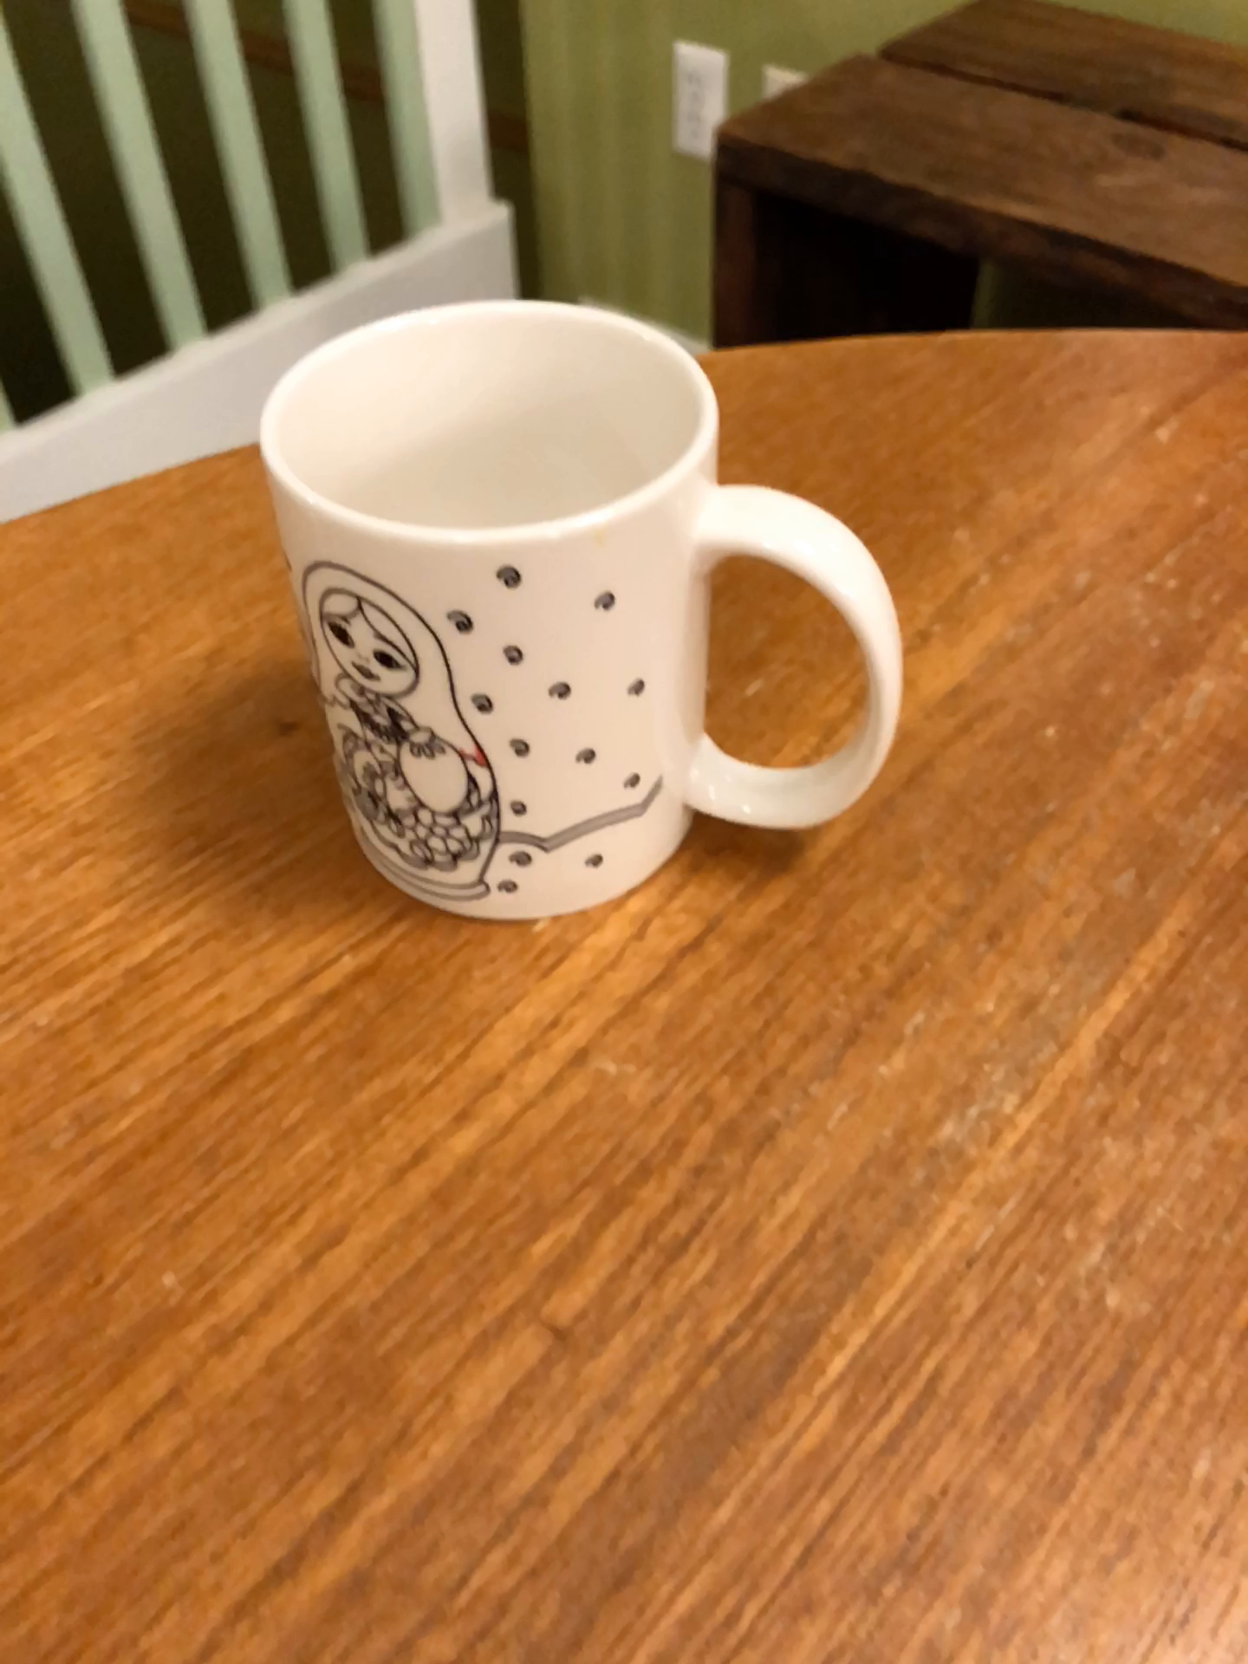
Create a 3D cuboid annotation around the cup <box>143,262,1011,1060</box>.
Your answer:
[{"bbox_3d":[-0.004,-0.037,0.279,0.126,0.099,0.088,17,49,17],"label":"cup"}]
